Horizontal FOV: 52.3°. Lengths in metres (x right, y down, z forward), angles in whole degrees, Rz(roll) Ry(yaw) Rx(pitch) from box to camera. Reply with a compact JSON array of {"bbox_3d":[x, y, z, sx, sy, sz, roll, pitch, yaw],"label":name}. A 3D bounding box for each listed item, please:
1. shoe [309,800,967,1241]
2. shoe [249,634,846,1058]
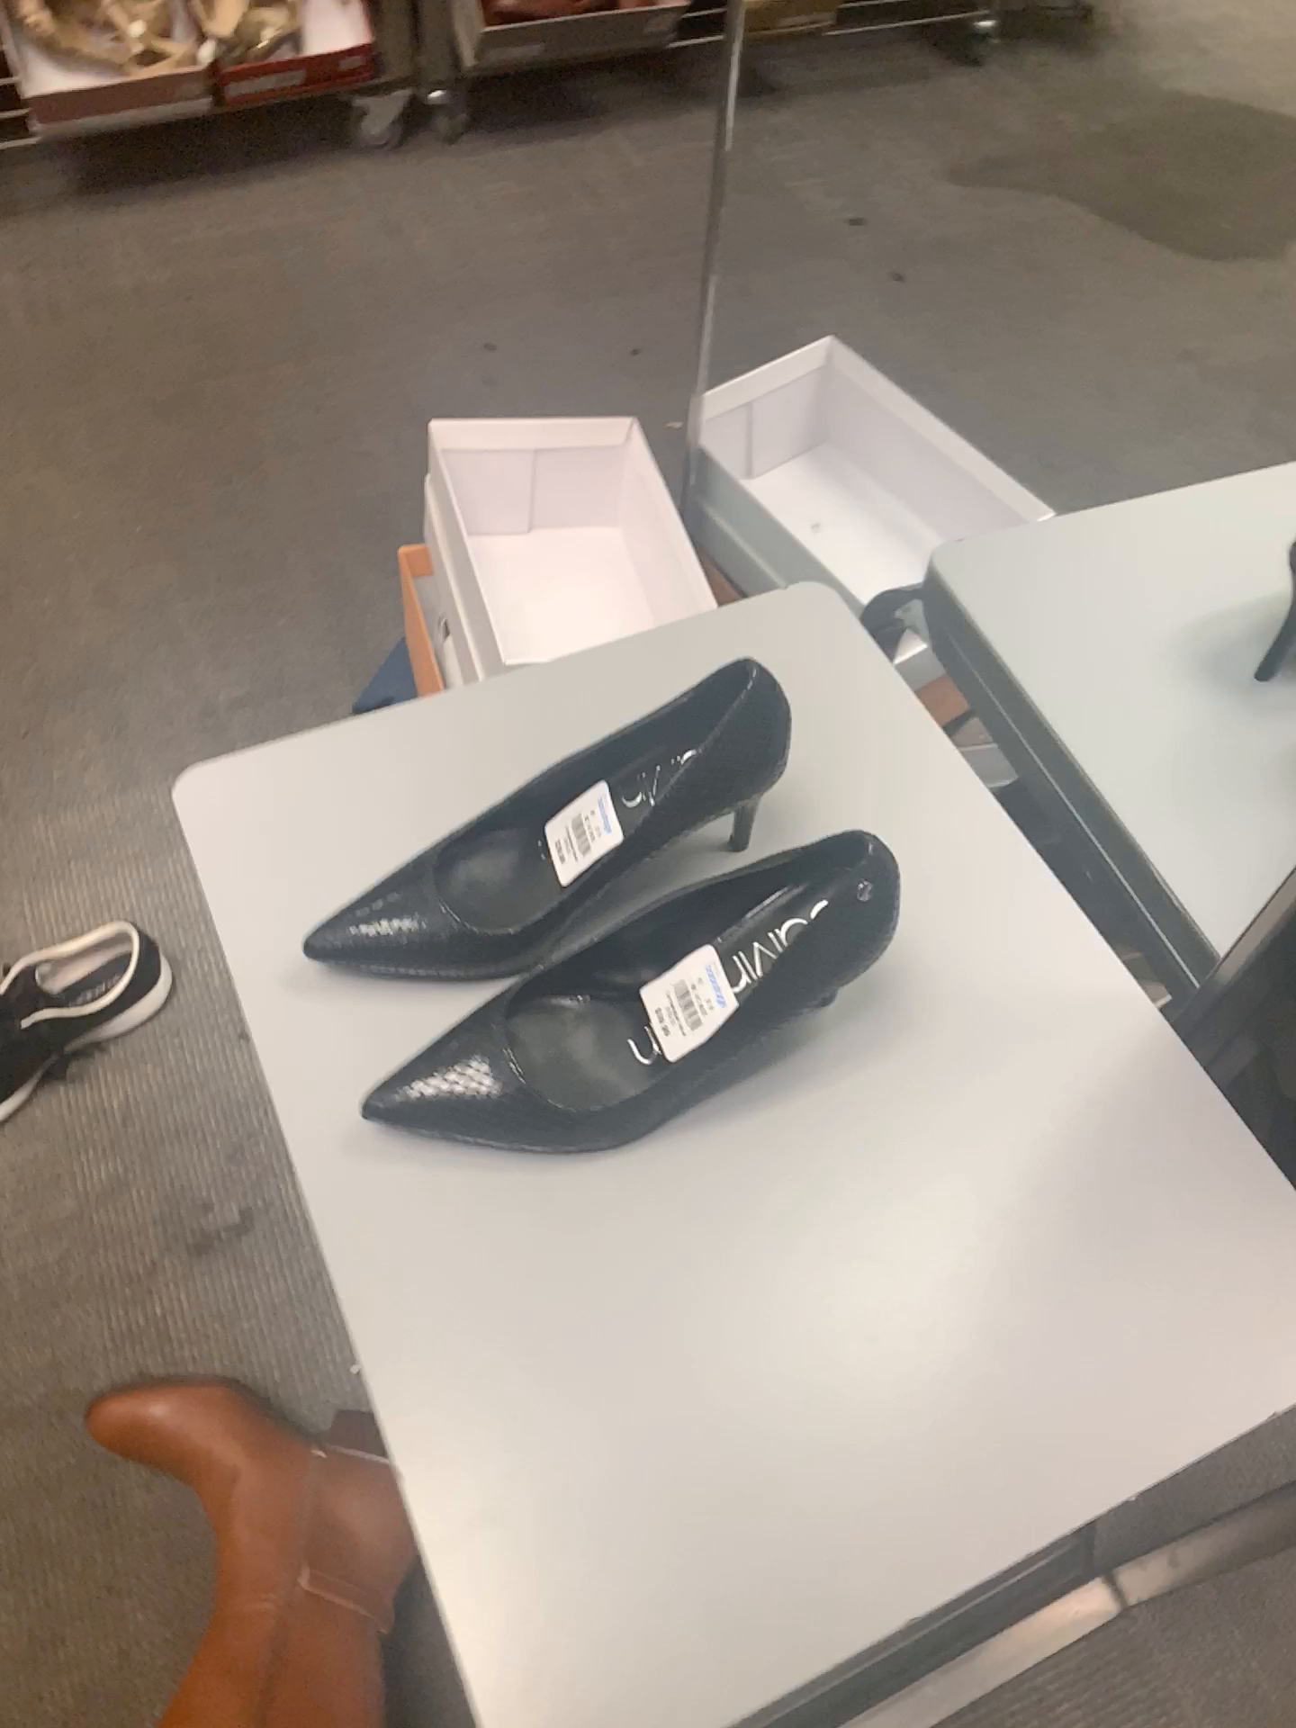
[{"bbox_3d":[-0.003,0.064,0.564,0.254,0.084,0.080,-17,57,-15],"label":"shoe"},{"bbox_3d":[-0.042,-0.012,0.618,0.254,0.085,0.080,-22,58,-18],"label":"shoe"}]
